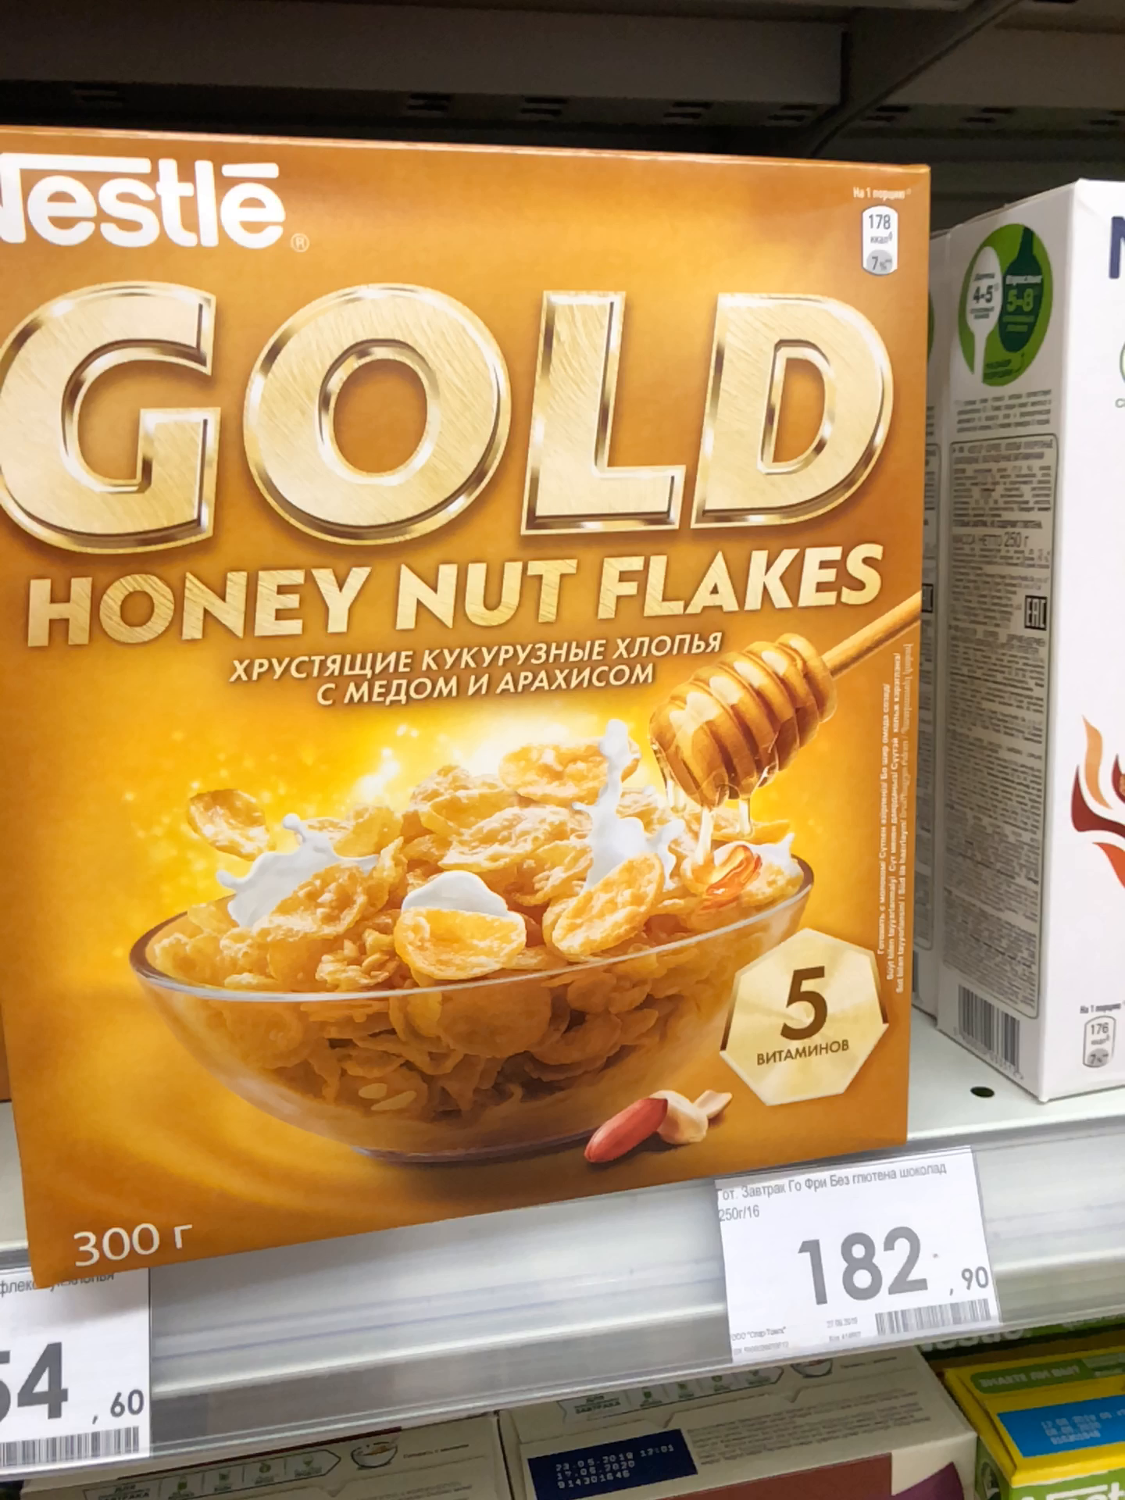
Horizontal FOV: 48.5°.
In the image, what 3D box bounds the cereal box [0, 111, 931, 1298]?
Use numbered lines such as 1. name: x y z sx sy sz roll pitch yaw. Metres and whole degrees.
1. cereal box: -0.020 -0.011 0.274 0.190 0.219 0.050 -4 10 -13
